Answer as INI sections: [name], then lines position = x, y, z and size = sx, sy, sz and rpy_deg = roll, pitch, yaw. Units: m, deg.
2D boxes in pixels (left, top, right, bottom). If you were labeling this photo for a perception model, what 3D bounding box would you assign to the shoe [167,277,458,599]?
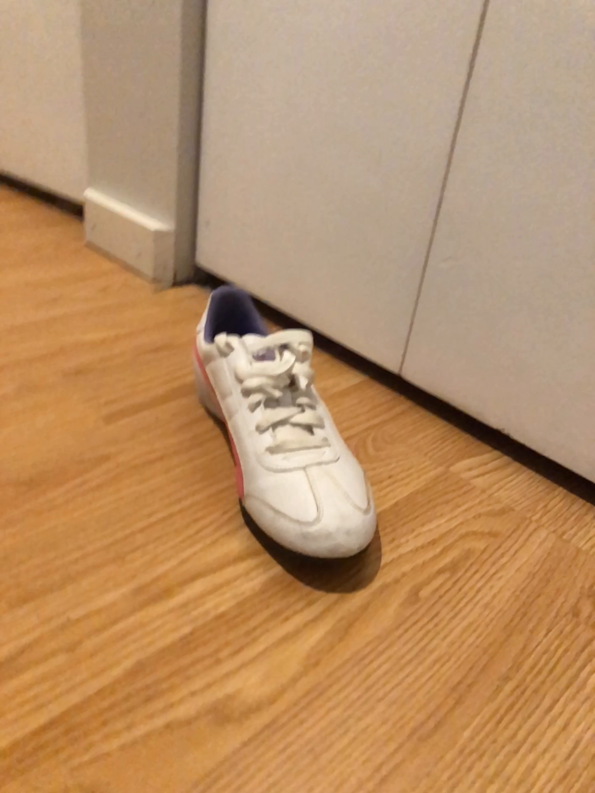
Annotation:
[shoe]
position = -0.012, 0.005, 0.461
size = 0.100, 0.080, 0.261
rpy_deg = -6, 34, -22
